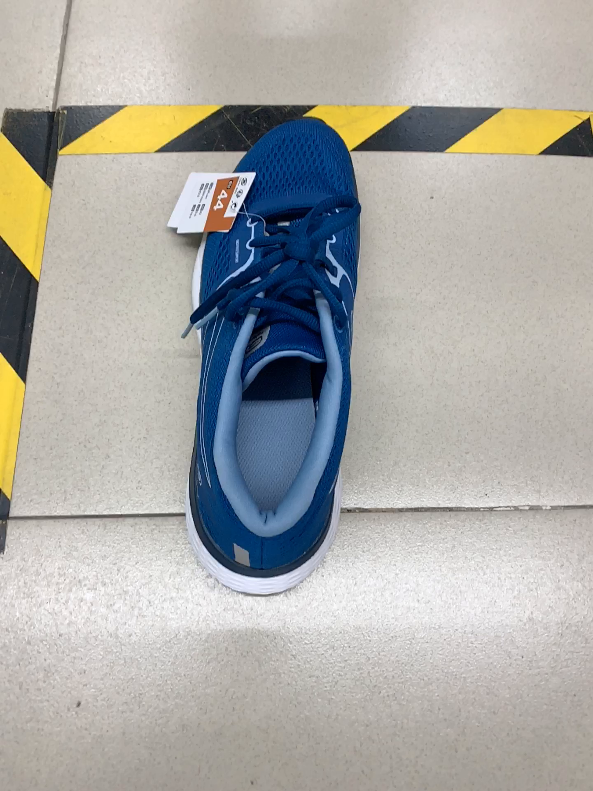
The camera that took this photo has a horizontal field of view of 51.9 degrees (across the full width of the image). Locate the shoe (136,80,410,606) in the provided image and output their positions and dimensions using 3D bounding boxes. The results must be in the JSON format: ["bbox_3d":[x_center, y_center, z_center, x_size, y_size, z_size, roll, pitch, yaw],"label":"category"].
[{"bbox_3d":[-0.006,-0.042,0.338,0.110,0.070,0.290,3,64,-2],"label":"shoe"}]
